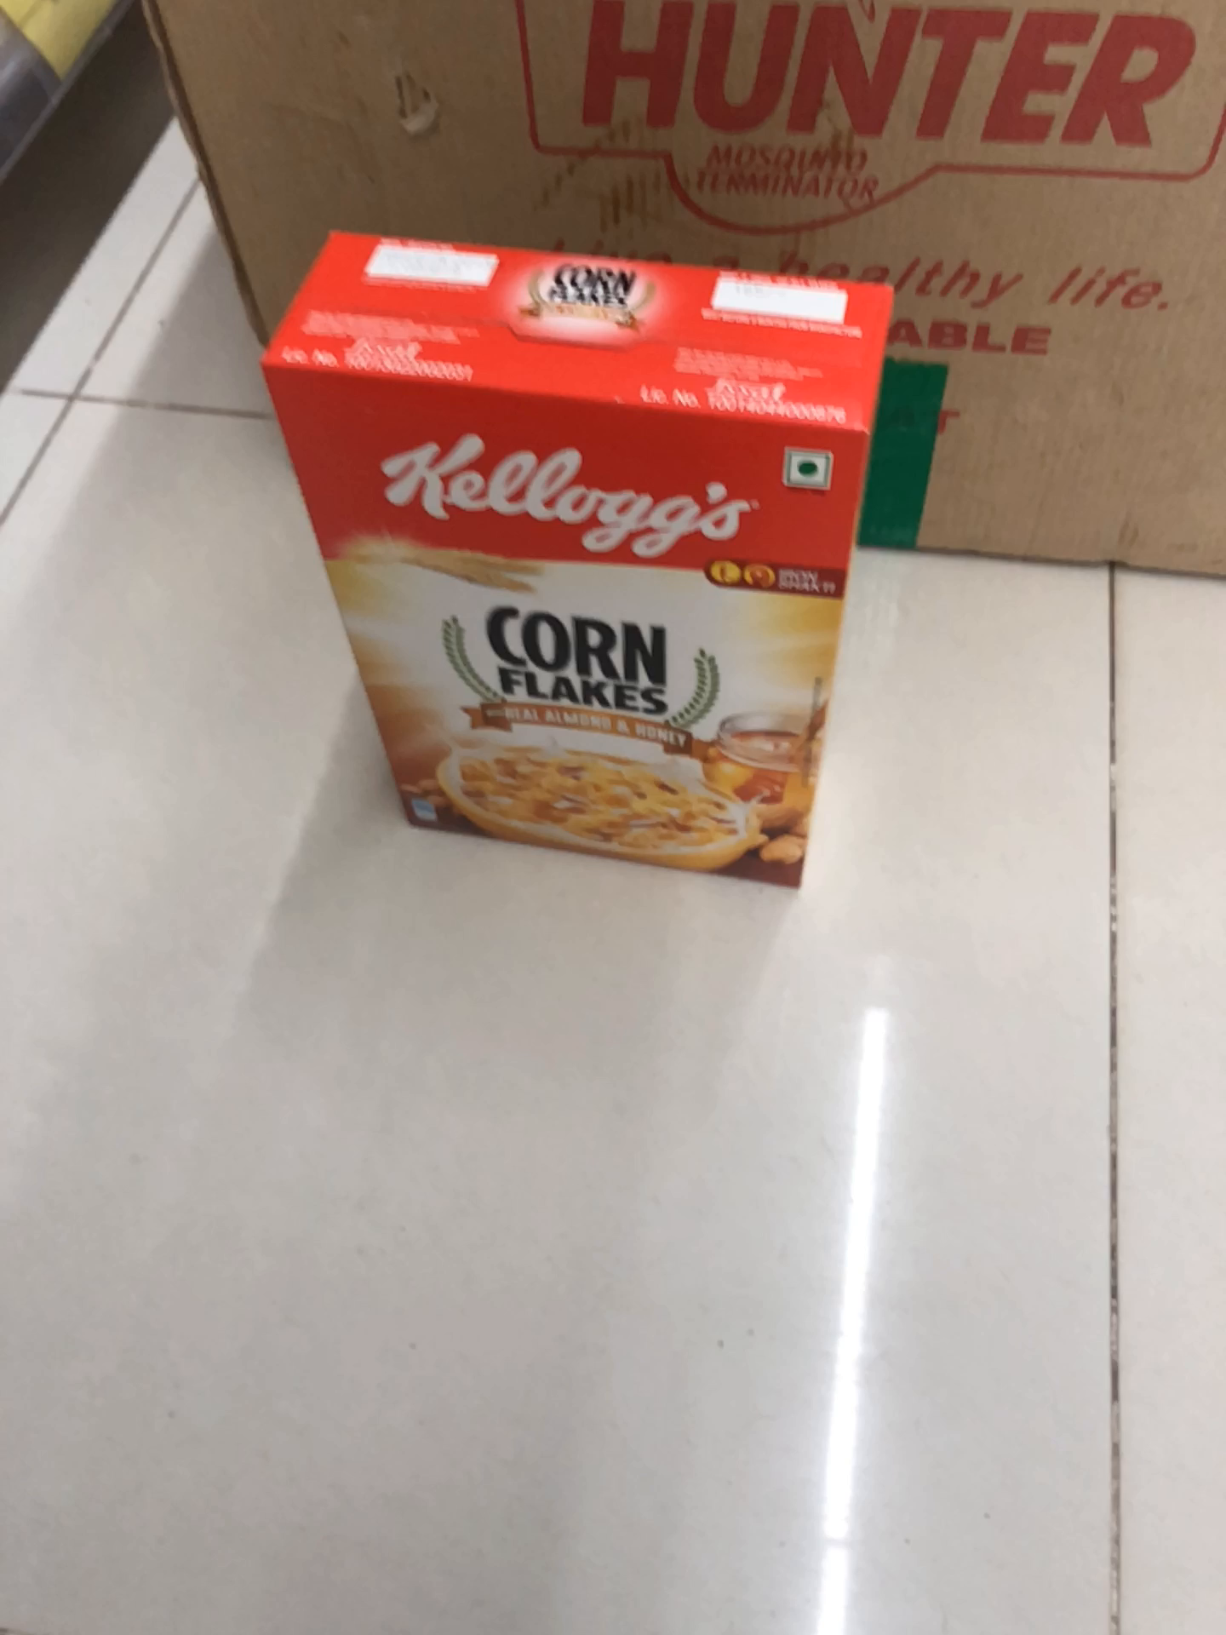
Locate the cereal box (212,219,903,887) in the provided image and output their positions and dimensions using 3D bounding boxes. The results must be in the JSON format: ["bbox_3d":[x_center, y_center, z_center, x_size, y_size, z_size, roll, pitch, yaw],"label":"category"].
[{"bbox_3d":[-0.010,-0.083,0.526,0.200,0.260,0.070,9,59,9],"label":"cereal box"}]
